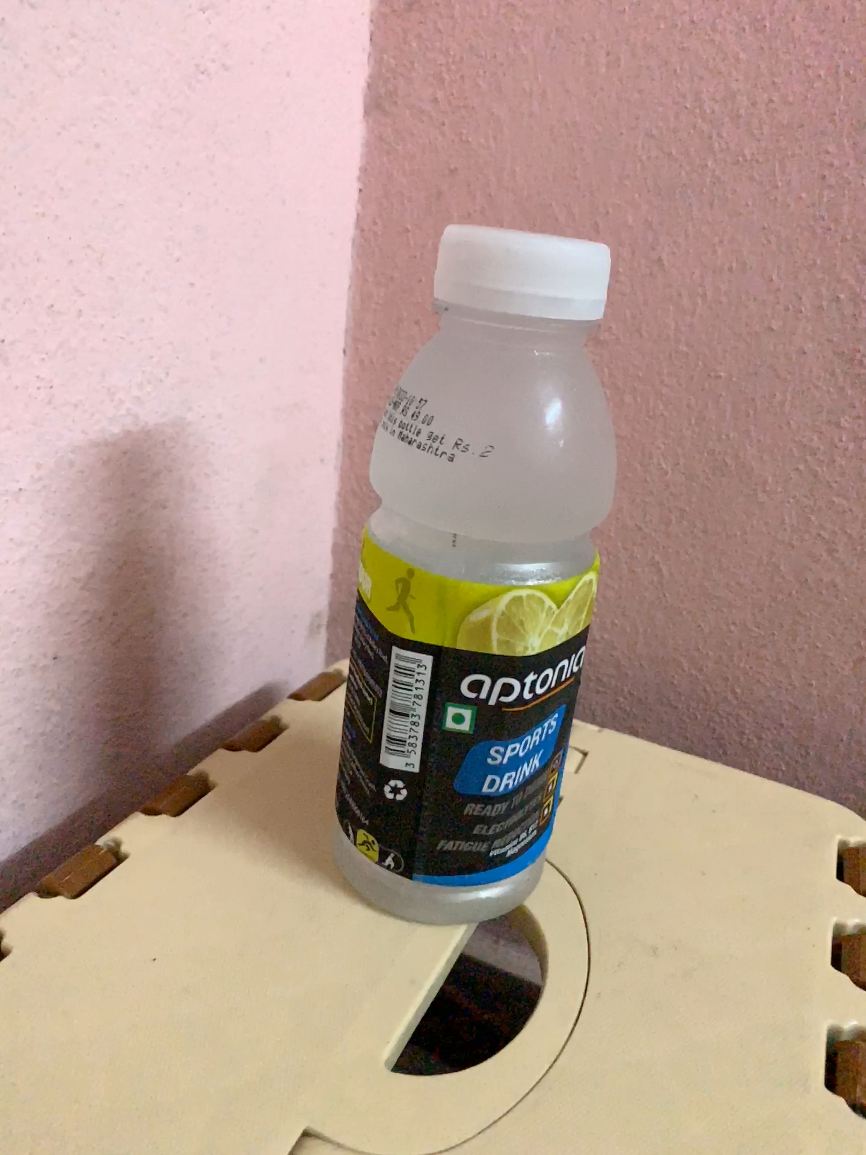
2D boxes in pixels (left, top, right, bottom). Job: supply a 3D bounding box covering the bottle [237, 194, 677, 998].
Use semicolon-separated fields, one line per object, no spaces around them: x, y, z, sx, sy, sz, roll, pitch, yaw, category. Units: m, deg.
-0.002;0.004;0.230;0.070;0.179;0.060;-11;28;-38;bottle
